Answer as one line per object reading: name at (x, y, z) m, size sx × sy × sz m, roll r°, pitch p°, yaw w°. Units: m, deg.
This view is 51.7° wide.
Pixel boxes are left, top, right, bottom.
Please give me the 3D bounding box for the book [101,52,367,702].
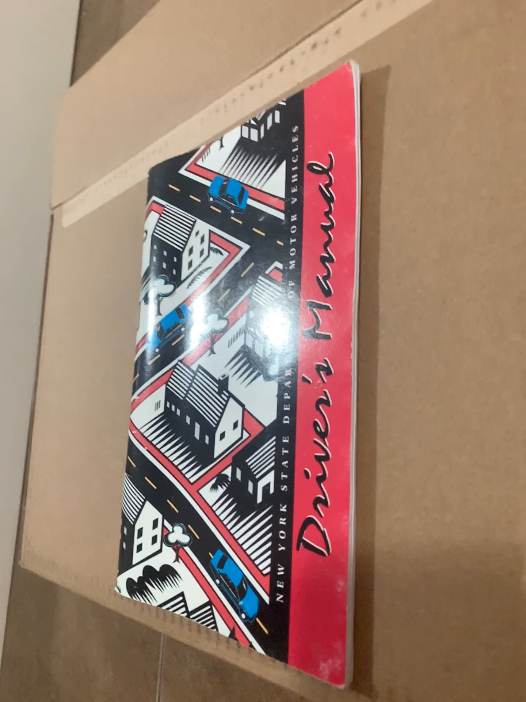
book at (-0.019, 0.006, 0.223) m, size 0.134 × 0.013 × 0.207 m, roll -6°, pitch 78°, yaw 46°
